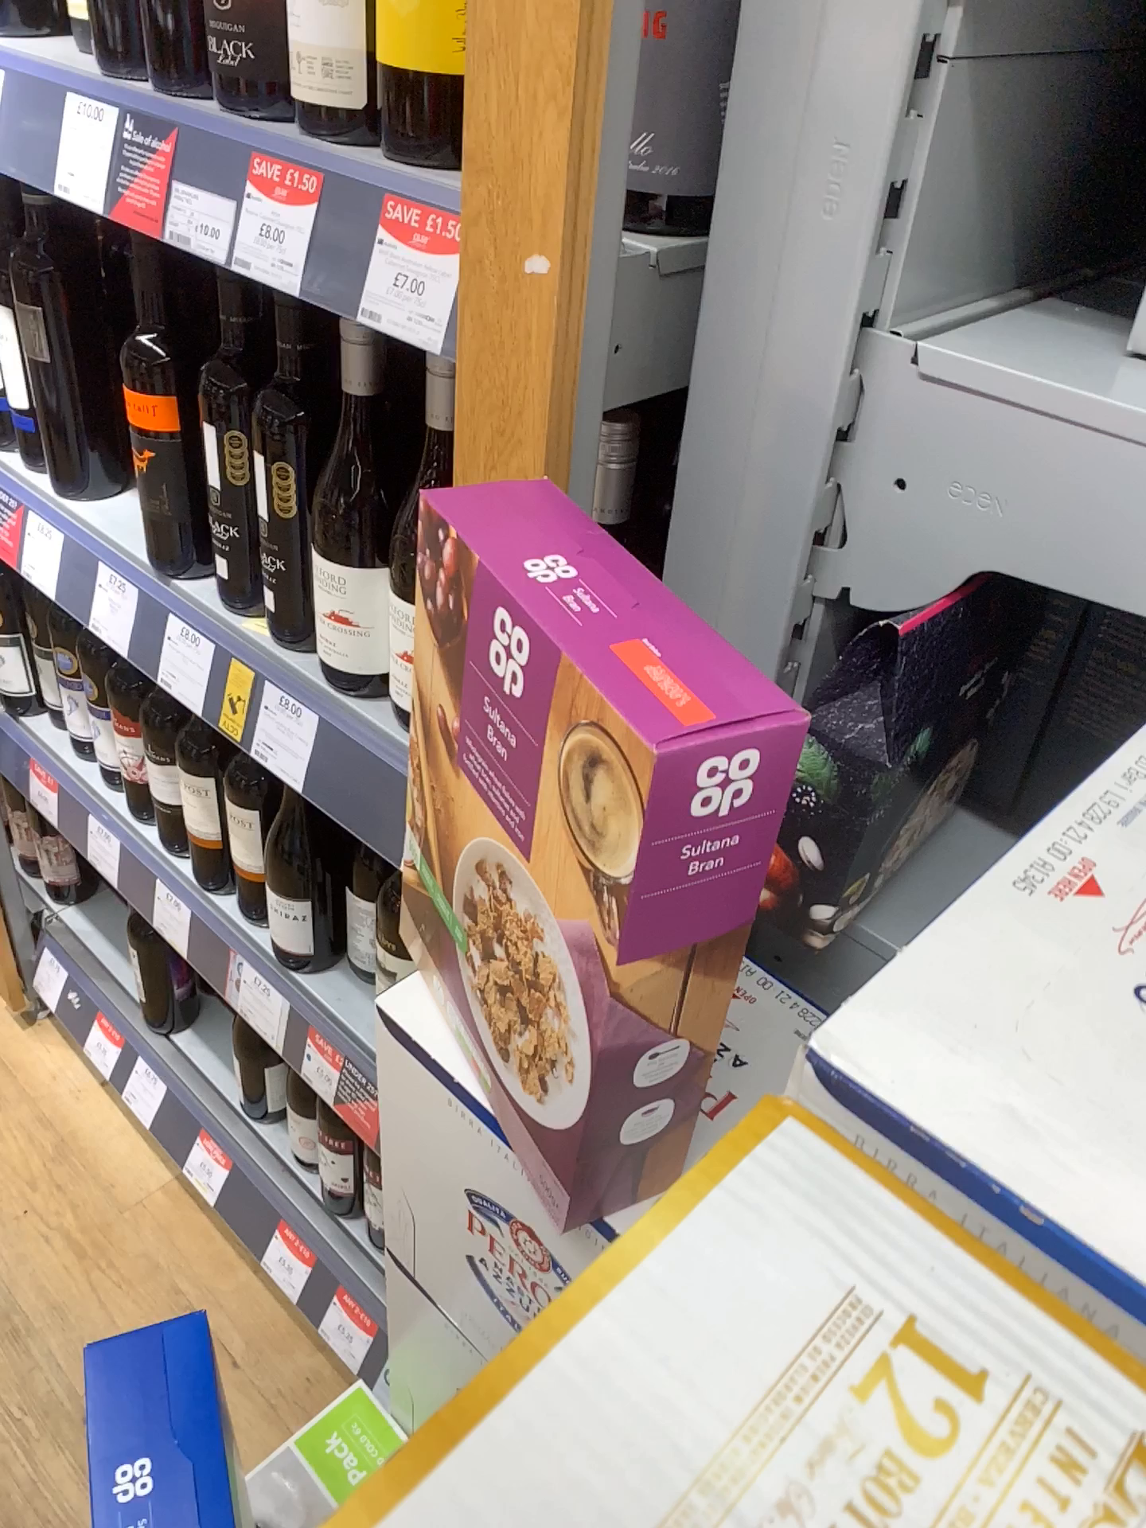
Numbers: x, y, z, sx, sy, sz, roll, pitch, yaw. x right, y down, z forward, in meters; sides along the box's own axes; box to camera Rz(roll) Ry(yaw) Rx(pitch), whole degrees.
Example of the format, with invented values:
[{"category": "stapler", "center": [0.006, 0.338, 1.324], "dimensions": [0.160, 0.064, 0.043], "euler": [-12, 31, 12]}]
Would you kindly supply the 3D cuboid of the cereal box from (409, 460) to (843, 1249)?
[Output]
[{"category": "cereal box", "center": [-0.002, 0.035, 0.501], "dimensions": [0.070, 0.257, 0.202], "euler": [-12, 40, -24]}]
